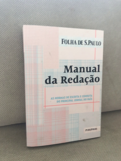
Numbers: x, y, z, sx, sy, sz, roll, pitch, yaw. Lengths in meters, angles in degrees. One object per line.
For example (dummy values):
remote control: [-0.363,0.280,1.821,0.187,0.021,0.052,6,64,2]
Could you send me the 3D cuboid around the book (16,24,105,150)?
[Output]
book: [0.005,0.010,0.278,0.166,0.229,0.040,-3,6,-11]
